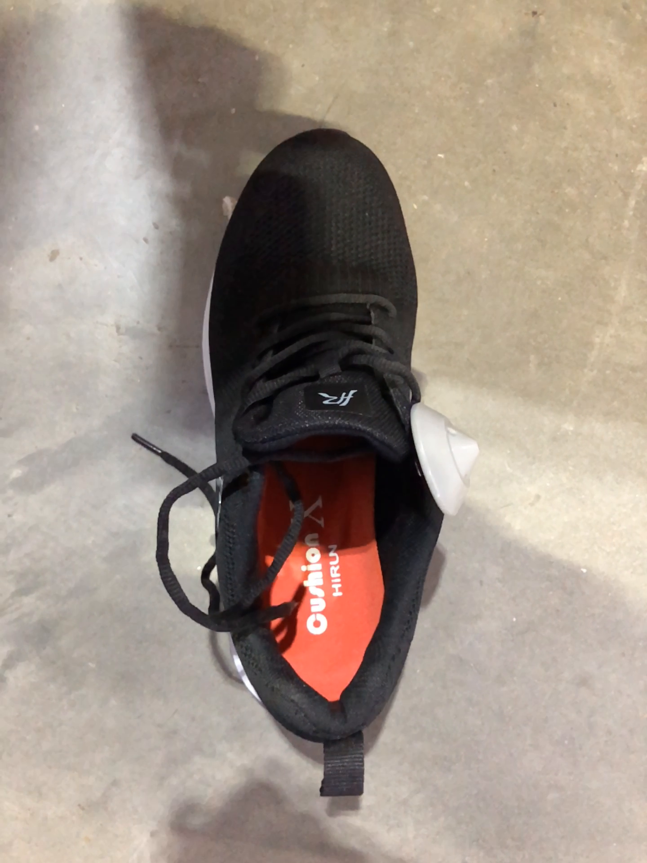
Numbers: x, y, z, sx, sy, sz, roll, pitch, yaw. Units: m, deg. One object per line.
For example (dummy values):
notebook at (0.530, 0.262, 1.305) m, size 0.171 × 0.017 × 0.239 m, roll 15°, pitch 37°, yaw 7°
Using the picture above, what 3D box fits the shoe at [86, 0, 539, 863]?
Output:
shoe at (-0.003, -0.008, 0.281) m, size 0.130 × 0.120 × 0.280 m, roll 0°, pitch 84°, yaw -1°
